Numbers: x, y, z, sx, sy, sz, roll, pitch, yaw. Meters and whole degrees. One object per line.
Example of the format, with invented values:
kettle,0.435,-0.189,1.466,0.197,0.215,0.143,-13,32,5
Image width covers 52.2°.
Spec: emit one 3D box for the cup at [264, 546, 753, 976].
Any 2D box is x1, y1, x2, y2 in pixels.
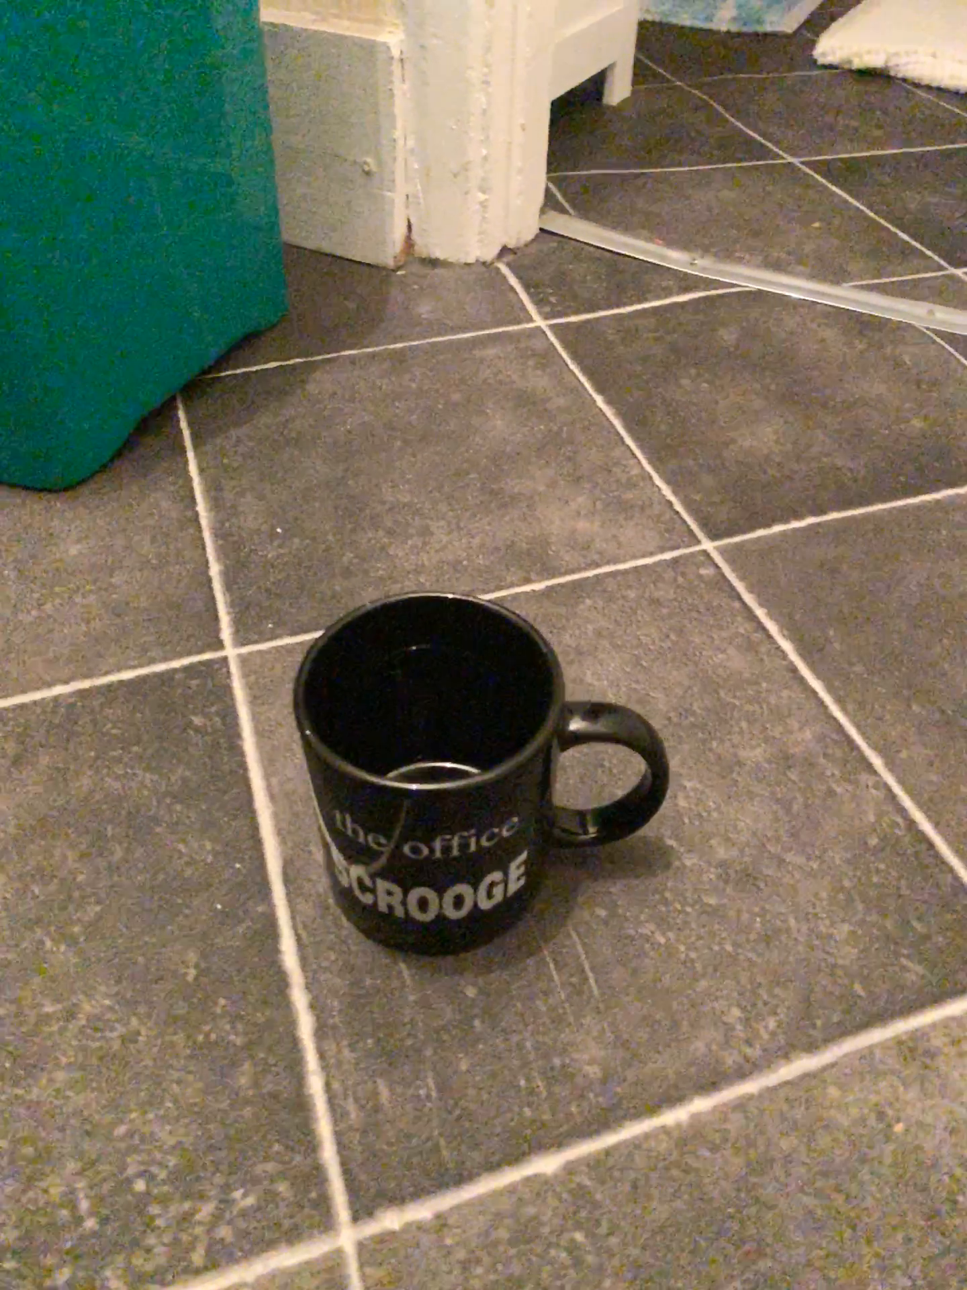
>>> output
cup,0.002,0.038,0.327,0.130,0.099,0.091,-3,45,-5
